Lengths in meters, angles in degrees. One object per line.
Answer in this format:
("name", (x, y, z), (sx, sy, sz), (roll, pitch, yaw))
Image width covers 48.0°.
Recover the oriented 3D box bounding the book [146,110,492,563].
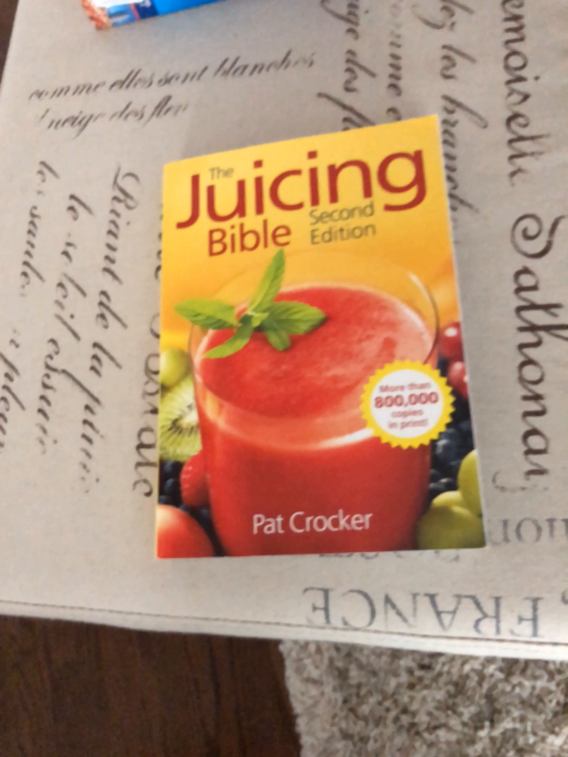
("book", (0.012, -0.025, 0.374), (0.180, 0.030, 0.250), (-6, 74, 13))
